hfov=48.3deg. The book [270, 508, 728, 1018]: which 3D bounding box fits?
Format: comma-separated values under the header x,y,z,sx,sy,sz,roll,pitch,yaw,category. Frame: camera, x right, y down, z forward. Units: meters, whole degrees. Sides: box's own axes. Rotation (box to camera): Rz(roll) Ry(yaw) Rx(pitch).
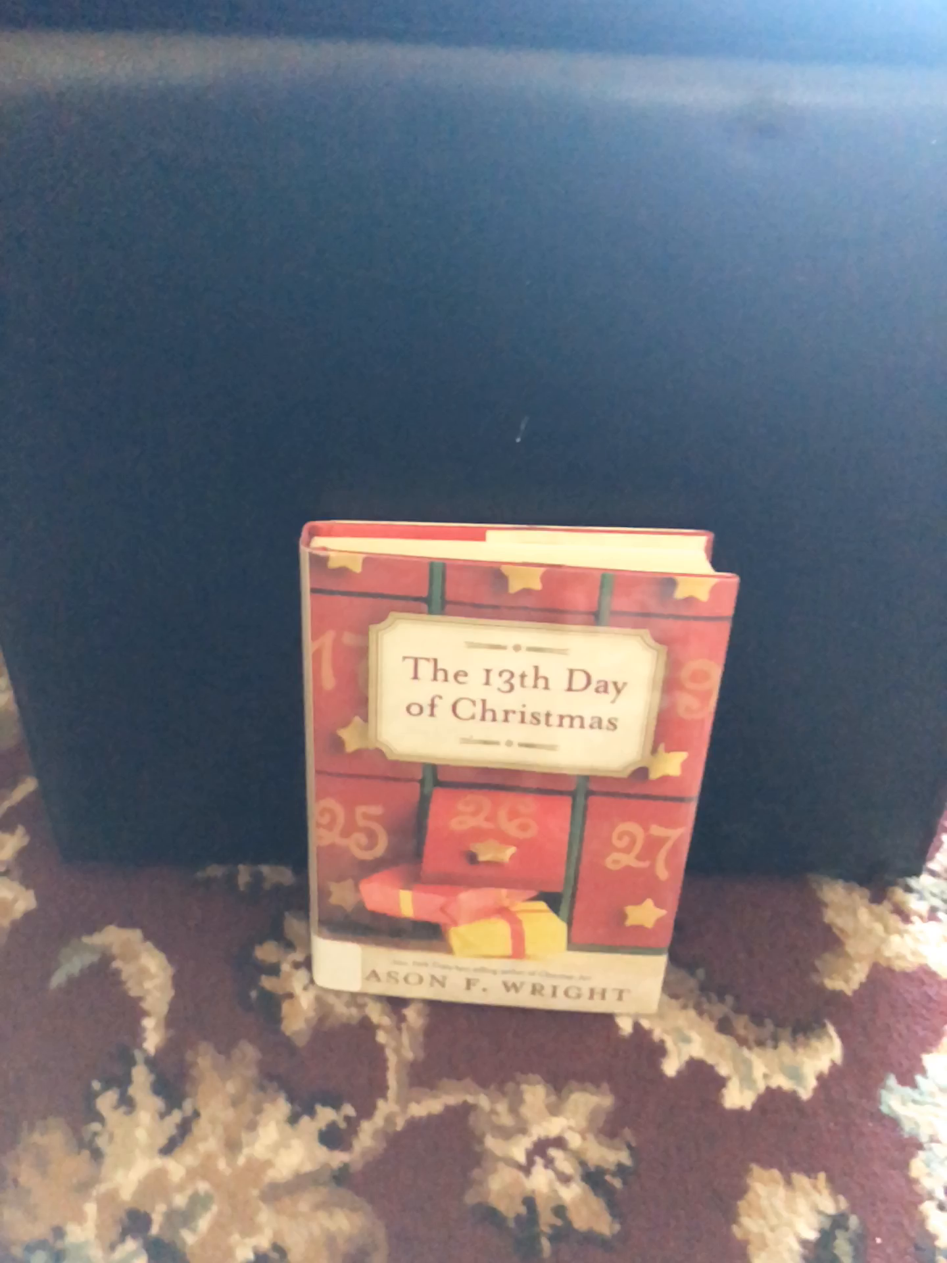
x,y,z,sx,sy,sz,roll,pitch,yaw,category
0.004,0.054,0.379,0.138,0.190,0.040,2,28,-2,book
